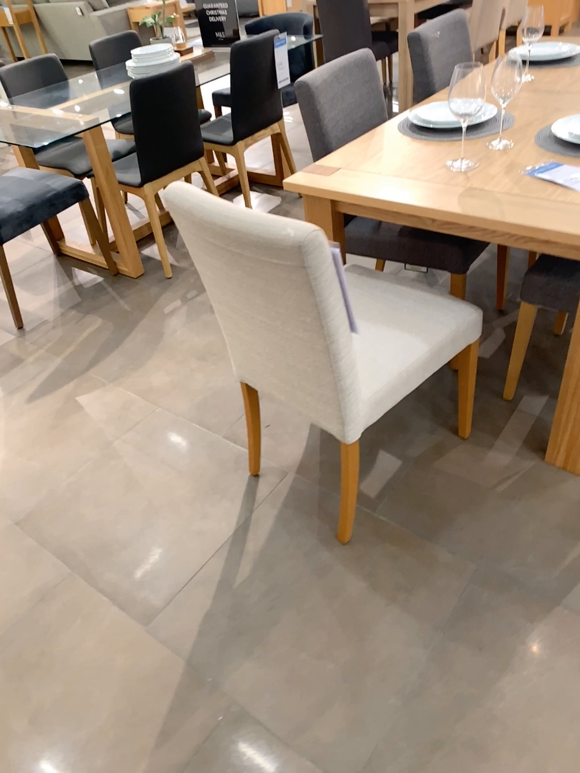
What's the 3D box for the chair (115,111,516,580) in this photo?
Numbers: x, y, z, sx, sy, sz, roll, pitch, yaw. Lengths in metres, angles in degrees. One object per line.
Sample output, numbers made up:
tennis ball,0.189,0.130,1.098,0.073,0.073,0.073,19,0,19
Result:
chair,0.093,-0.130,1.474,0.645,0.838,0.539,-34,45,-30
